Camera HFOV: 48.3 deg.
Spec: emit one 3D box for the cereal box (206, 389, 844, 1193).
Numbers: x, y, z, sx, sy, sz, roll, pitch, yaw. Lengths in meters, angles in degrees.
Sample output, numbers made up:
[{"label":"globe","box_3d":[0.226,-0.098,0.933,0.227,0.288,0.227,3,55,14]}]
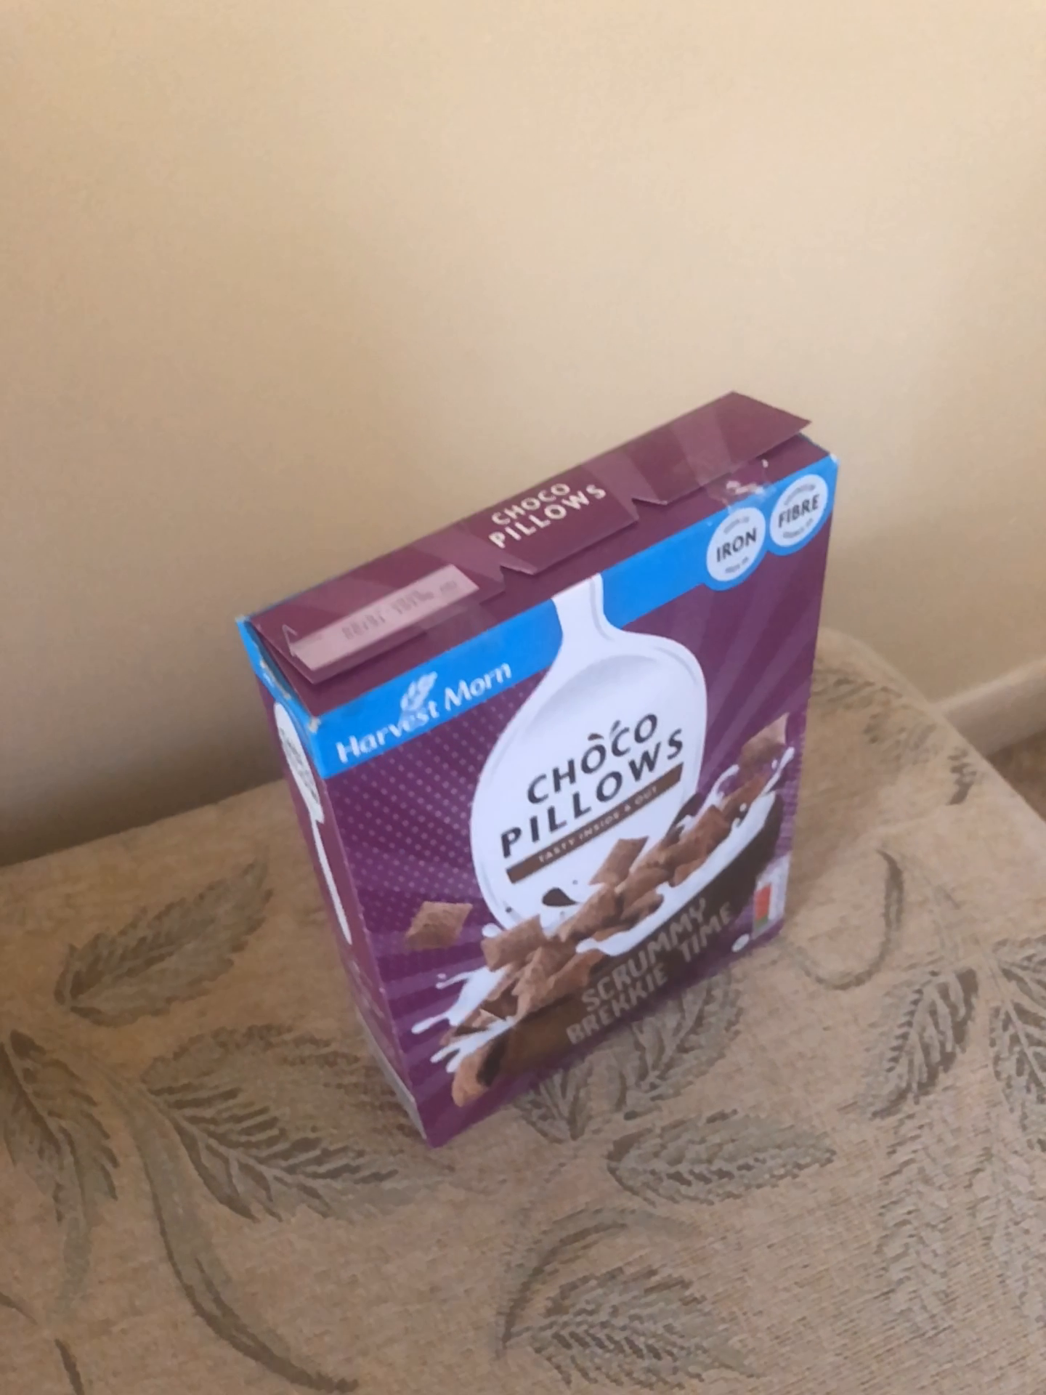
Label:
[{"label":"cereal box","box_3d":[0.013,0.050,0.456,0.200,0.278,0.060,-29,50,-24]}]
